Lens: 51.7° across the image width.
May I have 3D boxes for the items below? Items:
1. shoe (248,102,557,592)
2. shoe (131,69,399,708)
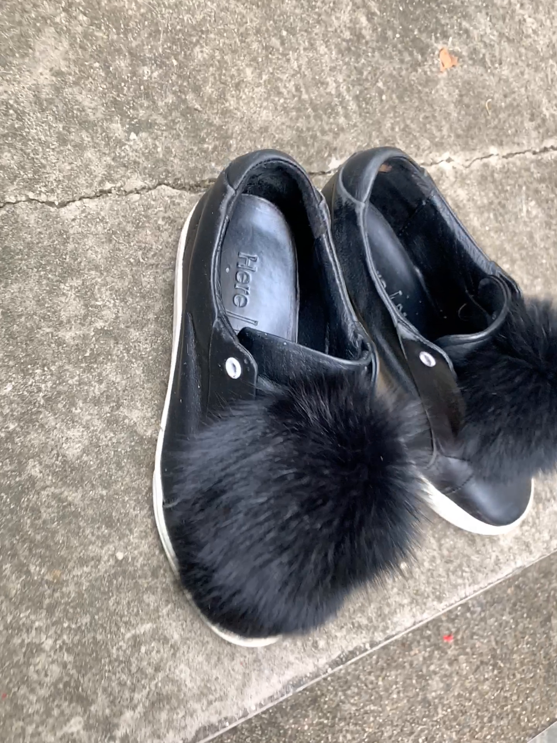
[{"bbox_3d":[0.101,-0.010,0.342,0.098,0.097,0.243,-34,94,-25],"label":"shoe"},{"bbox_3d":[-0.018,0.004,0.301,0.095,0.097,0.269,0,79,-23],"label":"shoe"}]
